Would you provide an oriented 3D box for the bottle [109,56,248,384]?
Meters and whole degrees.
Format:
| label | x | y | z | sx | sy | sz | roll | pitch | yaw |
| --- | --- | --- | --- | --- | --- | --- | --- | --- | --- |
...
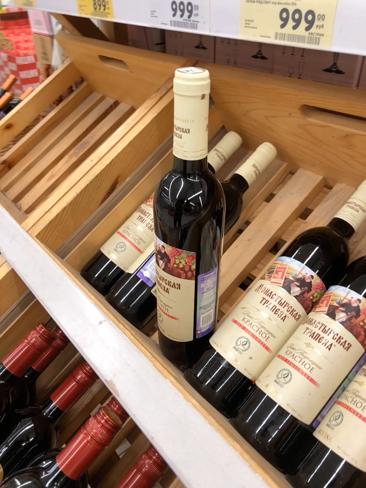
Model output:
| label | x | y | z | sx | sy | sz | roll | pitch | yaw |
| --- | --- | --- | --- | --- | --- | --- | --- | --- | --- |
| bottle | -0.001 | -0.008 | 0.399 | 0.080 | 0.308 | 0.080 | -2 | 33 | 1 |
